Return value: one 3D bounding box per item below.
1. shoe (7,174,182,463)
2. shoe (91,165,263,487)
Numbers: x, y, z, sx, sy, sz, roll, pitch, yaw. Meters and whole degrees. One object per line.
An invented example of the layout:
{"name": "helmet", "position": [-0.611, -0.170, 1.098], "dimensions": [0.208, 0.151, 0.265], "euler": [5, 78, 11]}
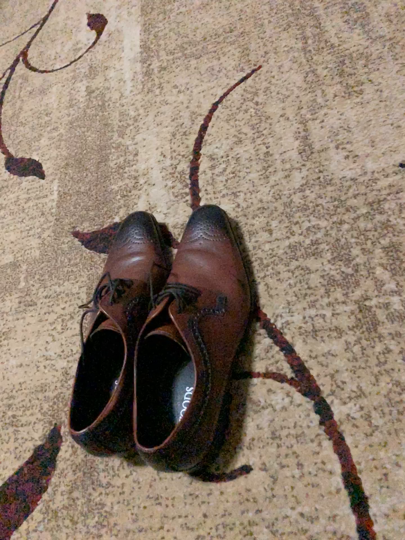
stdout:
{"name": "shoe", "position": [-0.099, 0.051, 0.459], "dimensions": [0.100, 0.115, 0.288], "euler": [-8, 60, 18]}
{"name": "shoe", "position": [-0.006, 0.051, 0.419], "dimensions": [0.100, 0.115, 0.287], "euler": [-4, 62, 21]}
